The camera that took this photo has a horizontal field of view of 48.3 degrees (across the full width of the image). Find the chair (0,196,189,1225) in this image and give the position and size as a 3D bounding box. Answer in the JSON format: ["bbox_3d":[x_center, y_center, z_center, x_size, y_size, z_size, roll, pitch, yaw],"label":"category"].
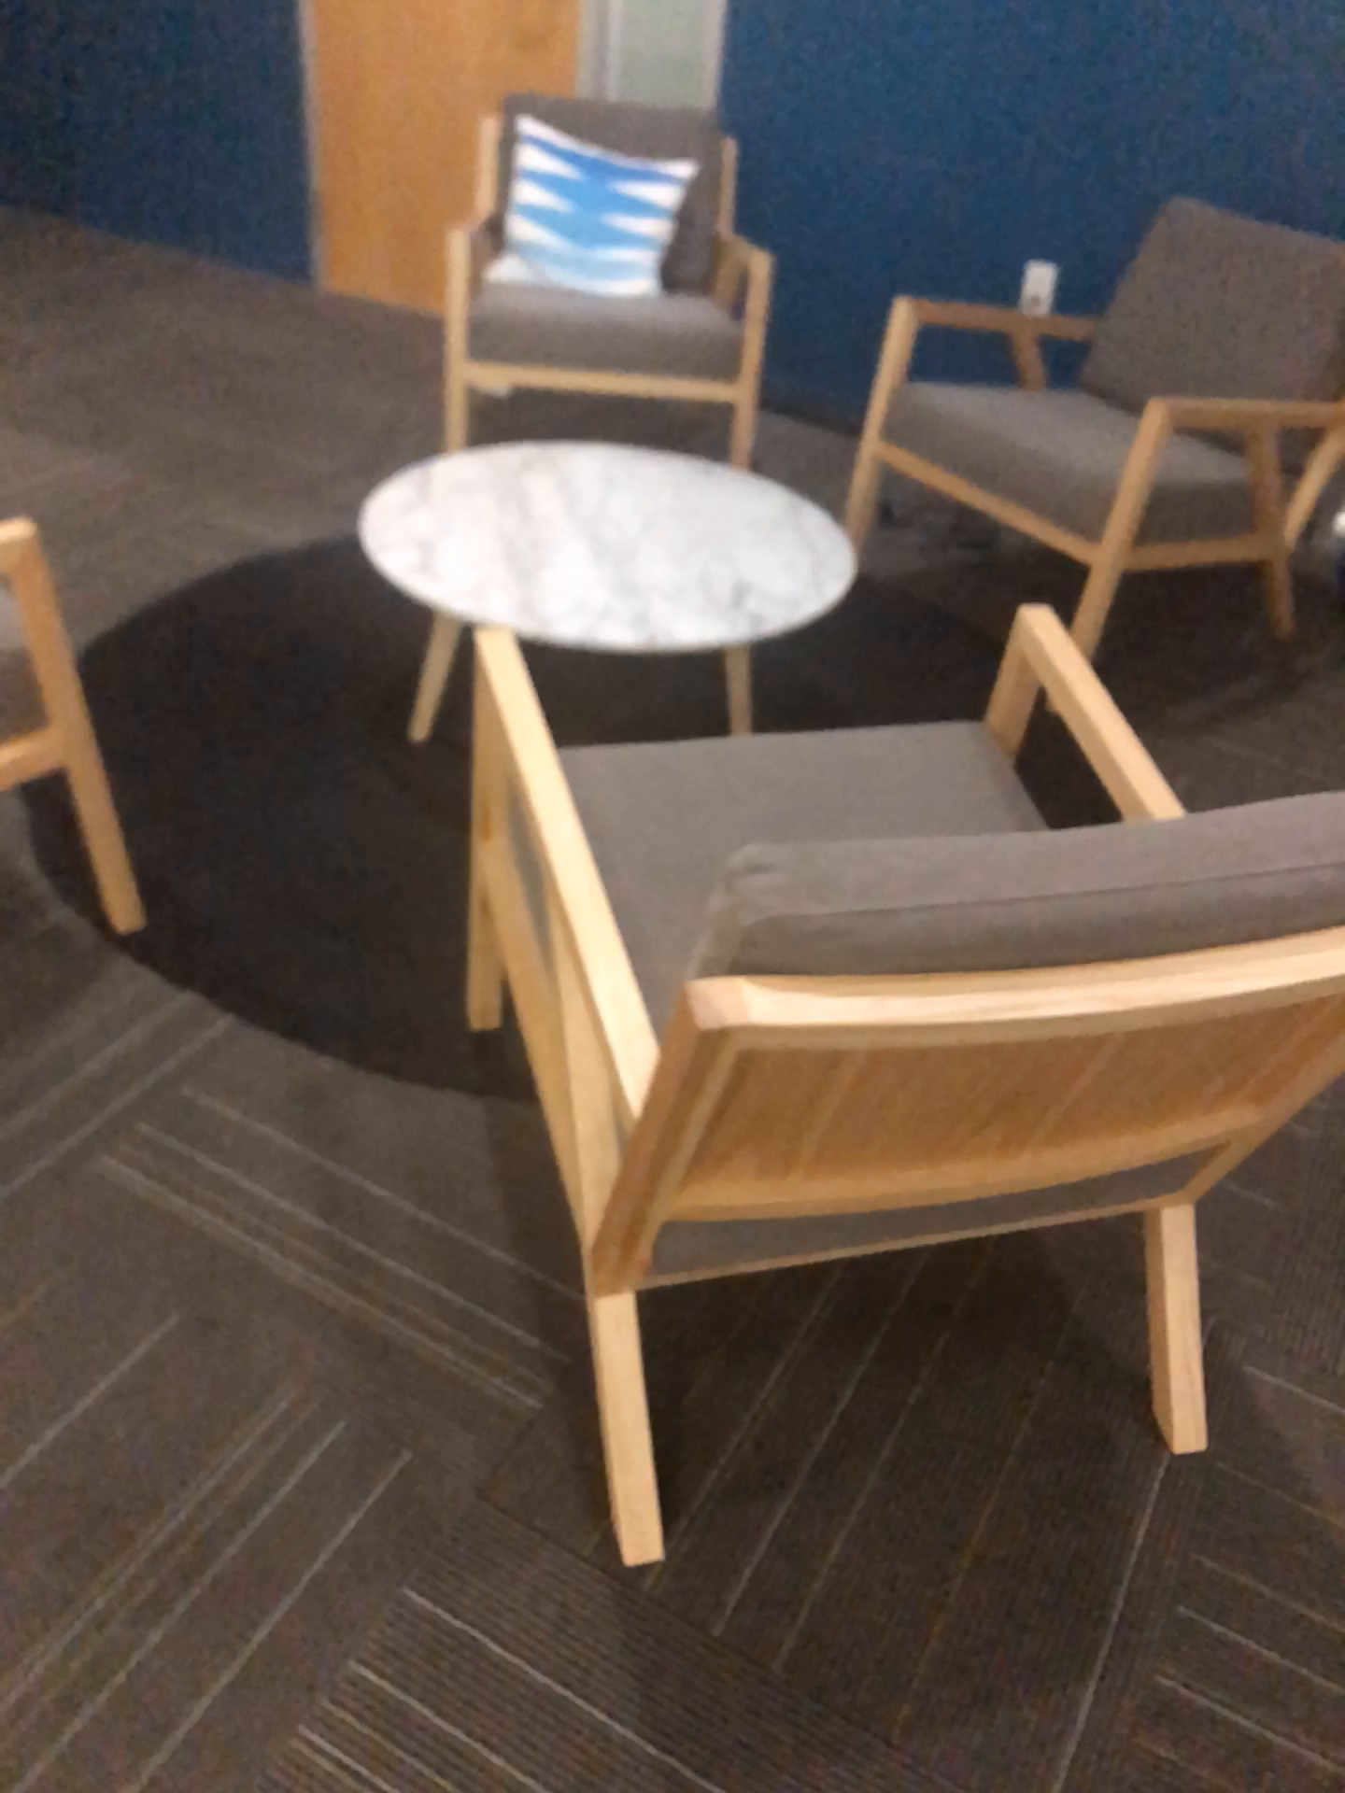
[{"bbox_3d":[-1.175,-0.286,1.781,0.805,0.773,0.722,-26,46,-32],"label":"chair"}]

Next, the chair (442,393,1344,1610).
[{"bbox_3d":[0.192,0.039,1.517,0.721,0.753,0.877,-5,42,-15],"label":"chair"}]
